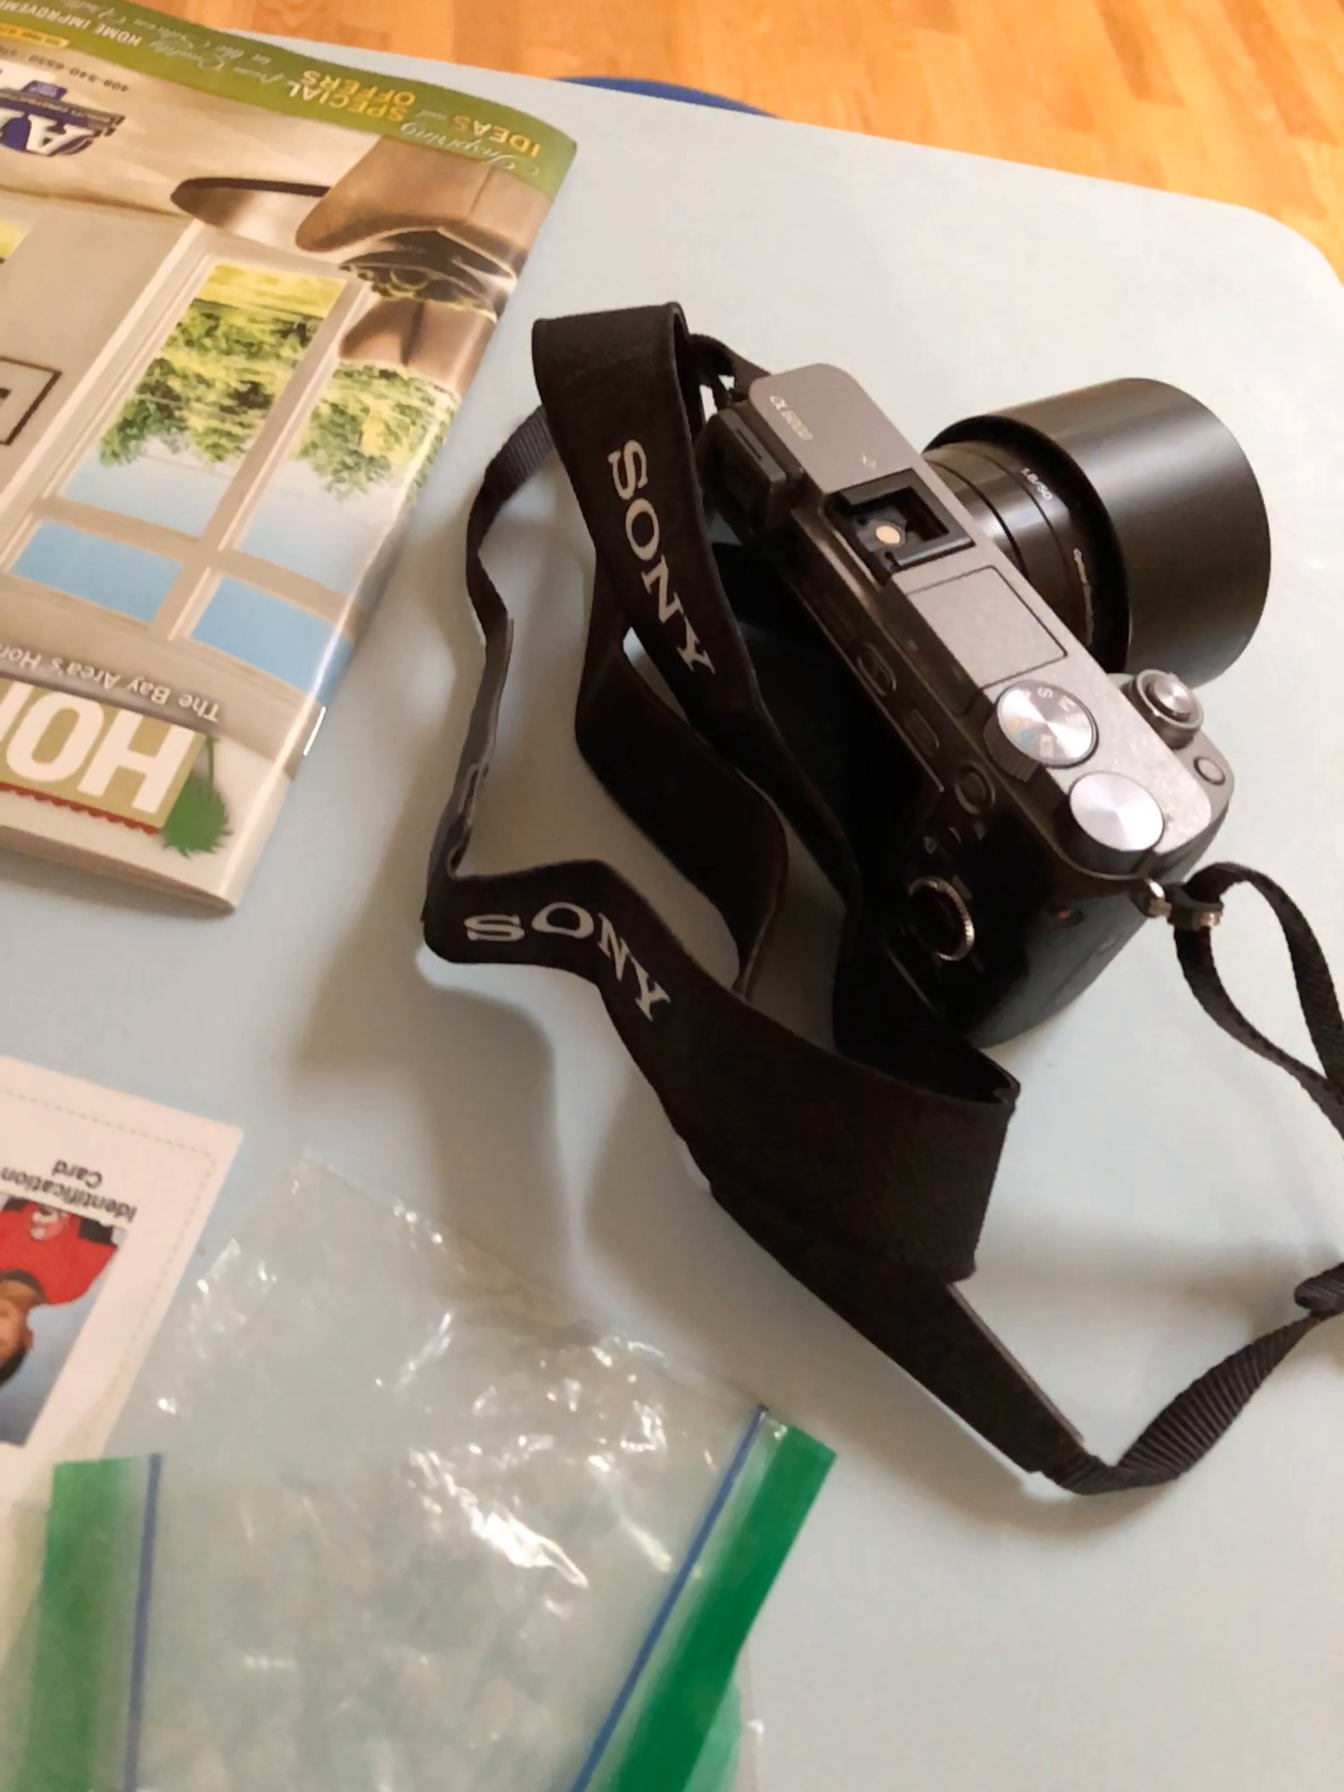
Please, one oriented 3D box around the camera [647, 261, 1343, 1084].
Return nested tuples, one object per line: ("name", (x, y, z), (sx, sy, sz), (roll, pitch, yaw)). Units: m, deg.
("camera", (0.080, -0.052, 0.303), (0.110, 0.070, 0.130), (-21, 64, -25))
